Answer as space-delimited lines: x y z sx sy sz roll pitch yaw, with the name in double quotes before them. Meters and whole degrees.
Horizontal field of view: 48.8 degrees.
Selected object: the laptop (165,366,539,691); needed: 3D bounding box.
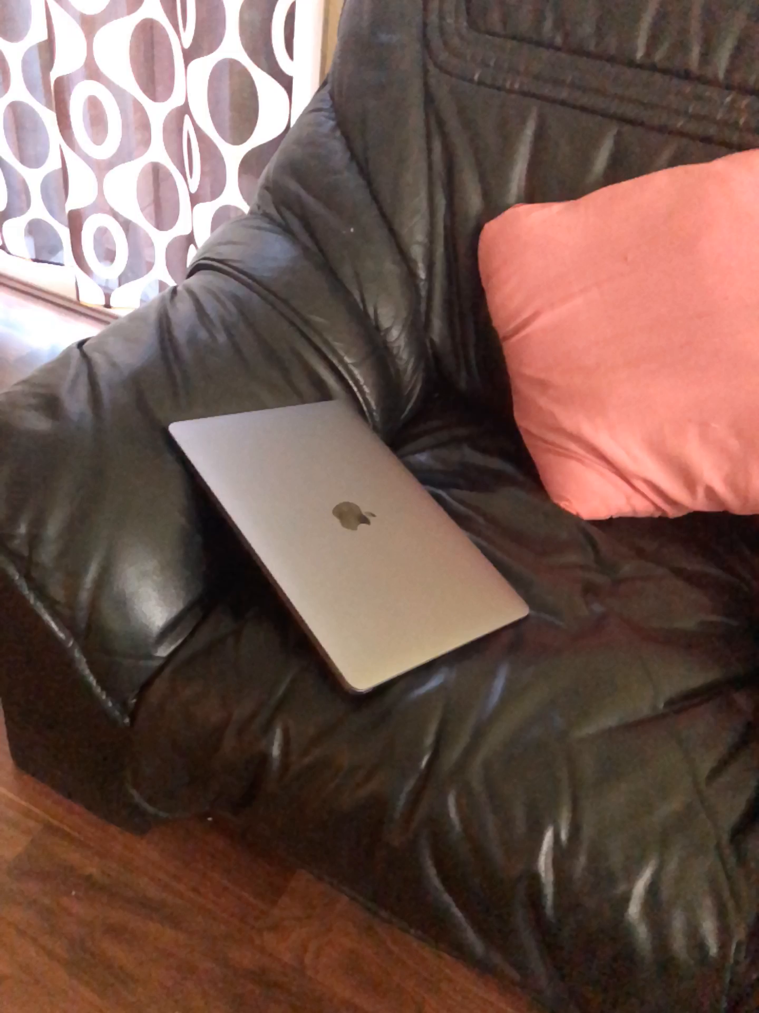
"laptop" -0.022 -0.005 0.646 0.185 0.036 0.265 -14 53 -42
